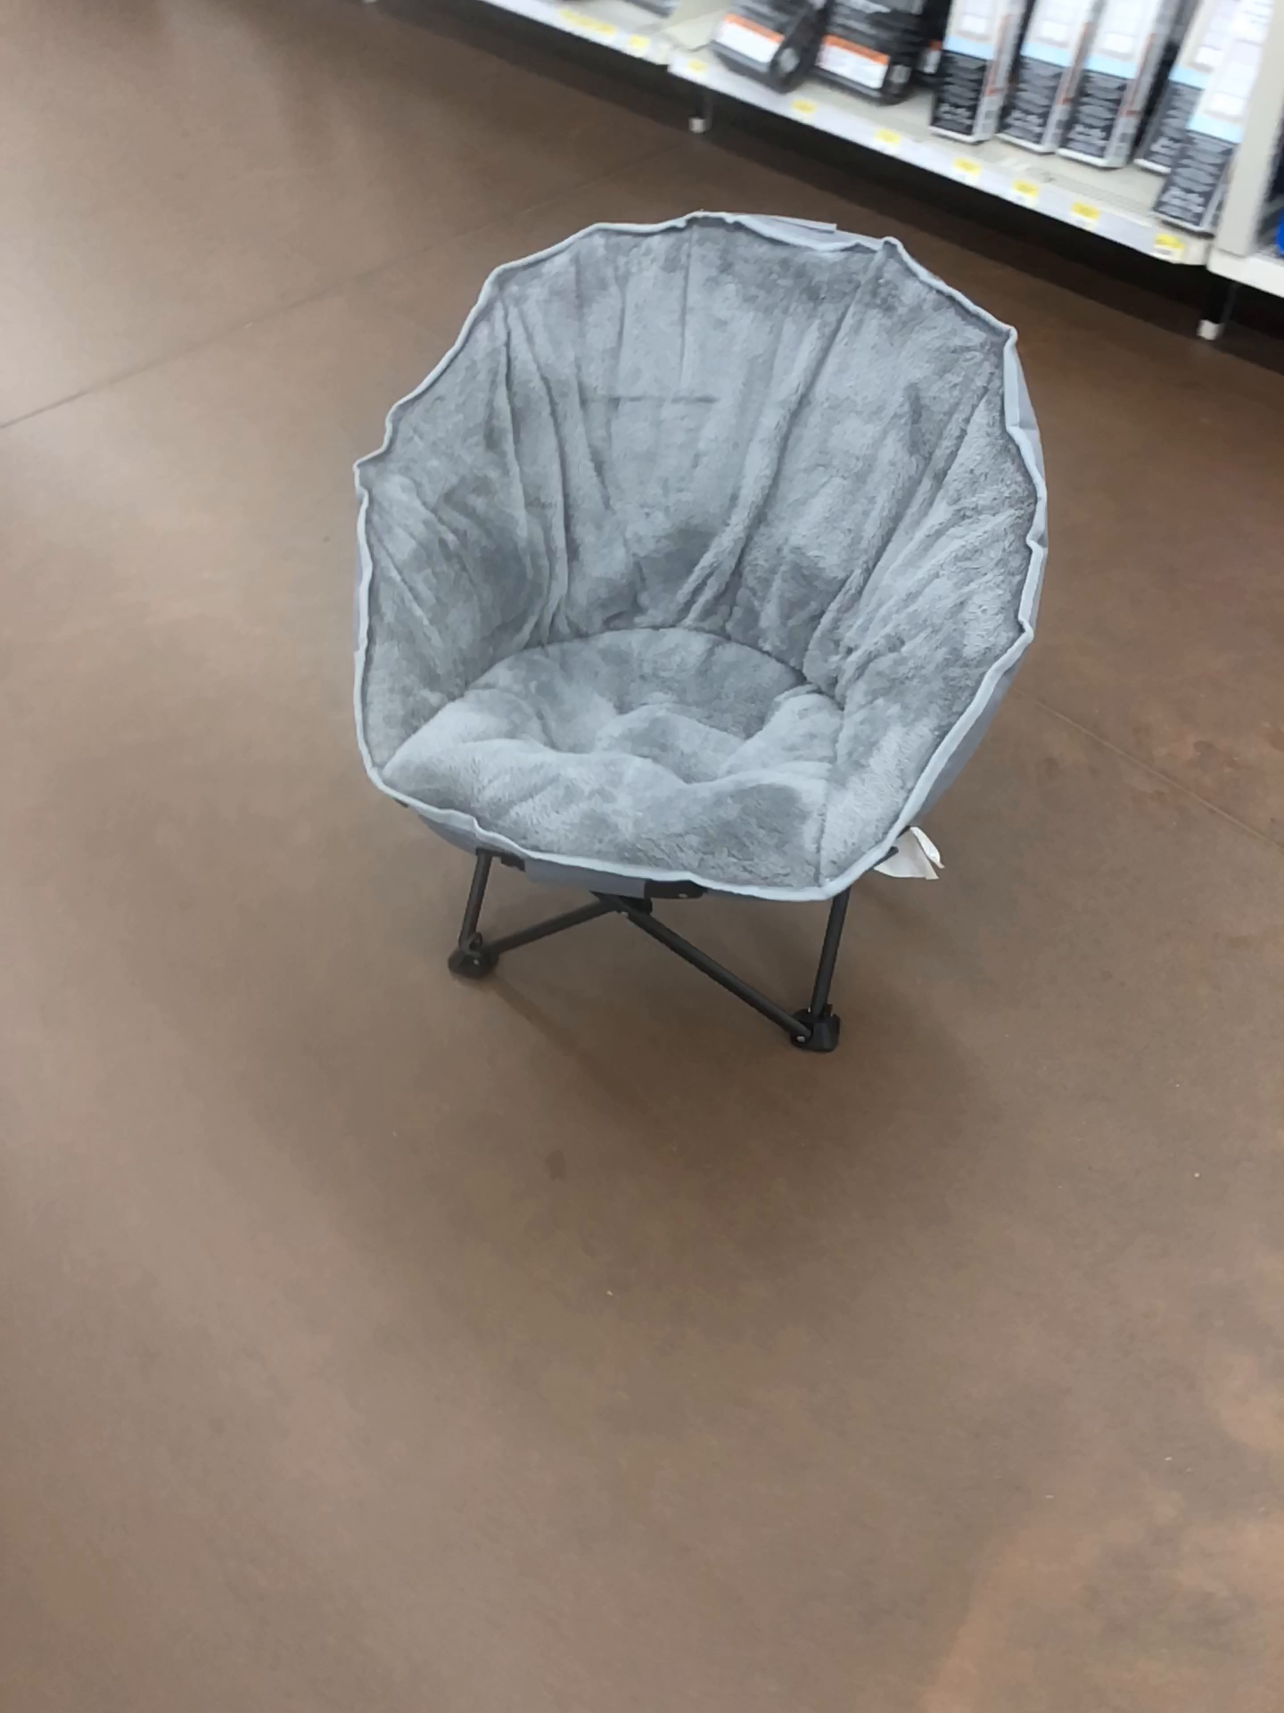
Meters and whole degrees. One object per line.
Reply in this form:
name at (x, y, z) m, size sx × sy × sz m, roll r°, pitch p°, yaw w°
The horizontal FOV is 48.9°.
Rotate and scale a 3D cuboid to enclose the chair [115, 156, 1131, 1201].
chair at (0.048, -0.179, 1.209) m, size 0.570 × 0.528 × 0.632 m, roll 11°, pitch 49°, yaw 13°
